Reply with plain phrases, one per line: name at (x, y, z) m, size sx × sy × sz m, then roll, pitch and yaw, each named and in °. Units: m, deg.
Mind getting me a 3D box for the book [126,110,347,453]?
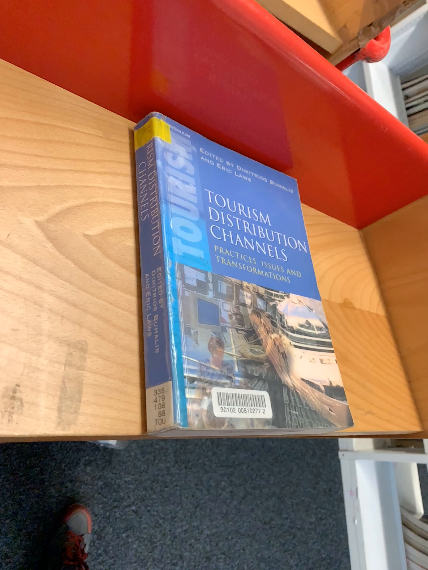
book at (0.015, -0.001, 0.341) m, size 0.168 × 0.030 × 0.239 m, roll 15°, pitch 57°, yaw -38°
